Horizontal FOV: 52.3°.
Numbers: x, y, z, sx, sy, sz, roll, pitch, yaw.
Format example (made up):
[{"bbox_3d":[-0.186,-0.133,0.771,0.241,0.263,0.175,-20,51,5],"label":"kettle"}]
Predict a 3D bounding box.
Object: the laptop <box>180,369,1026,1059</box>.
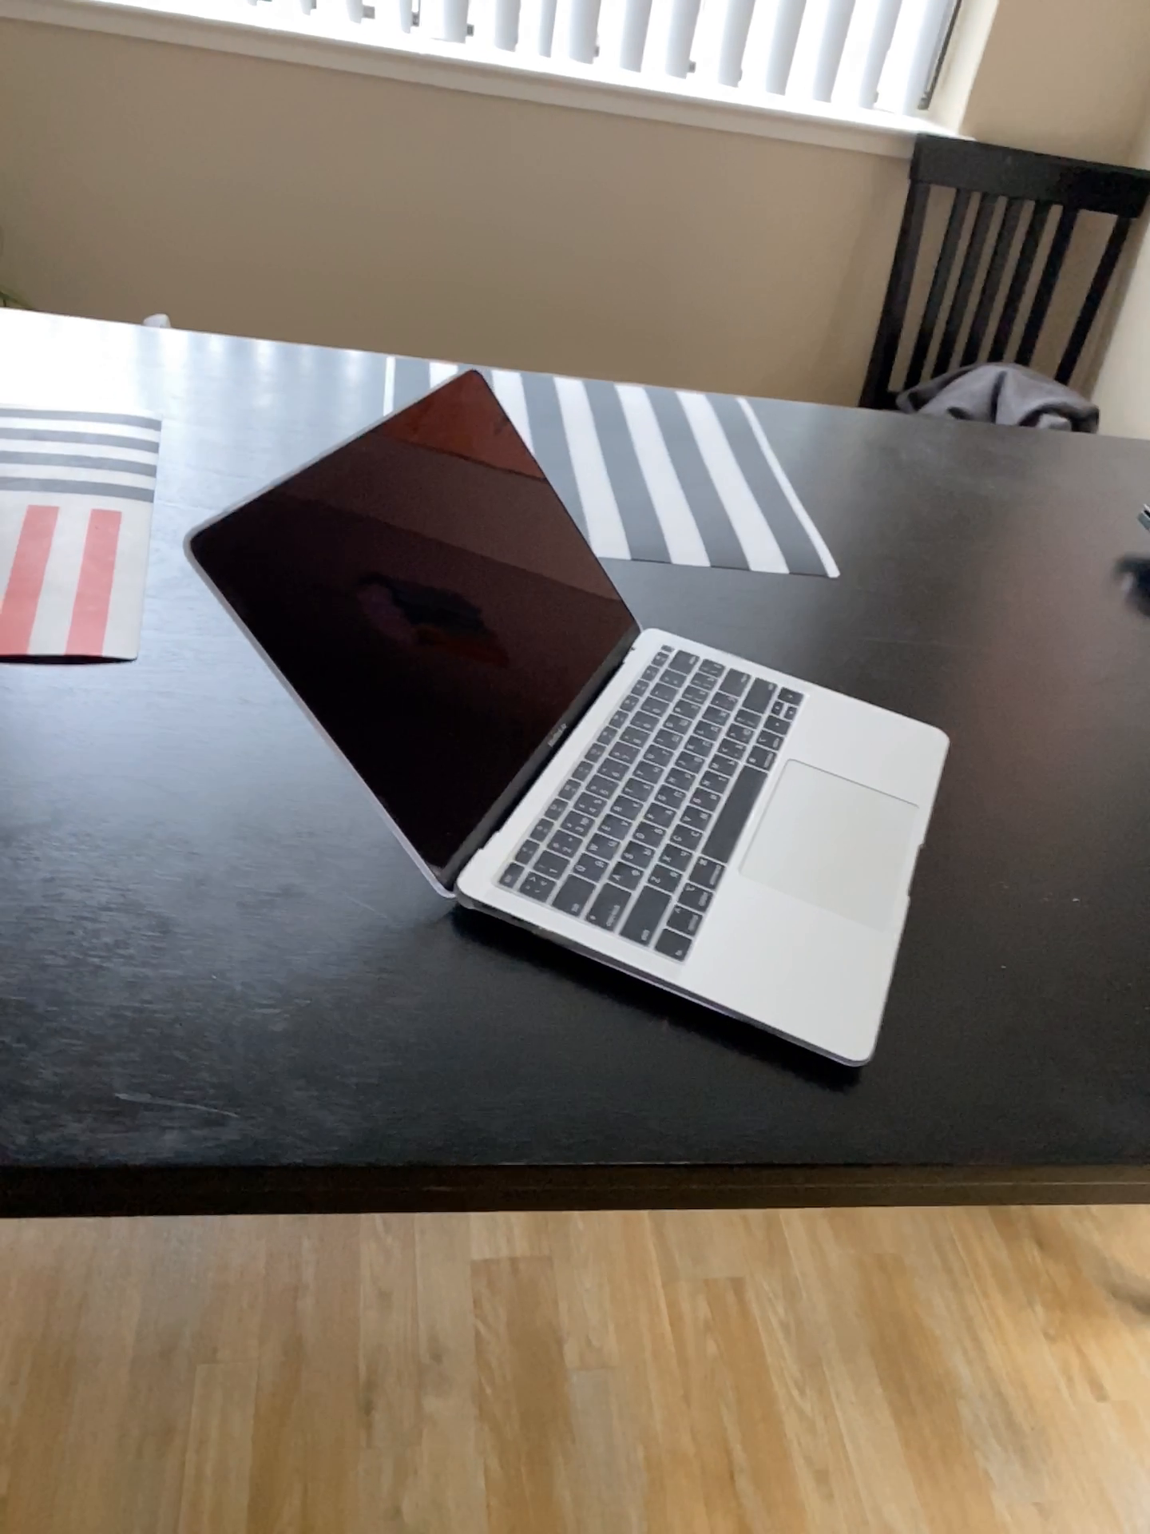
[{"bbox_3d":[0.032,-0.061,0.645,0.361,0.139,0.298,21,38,11],"label":"laptop"}]
